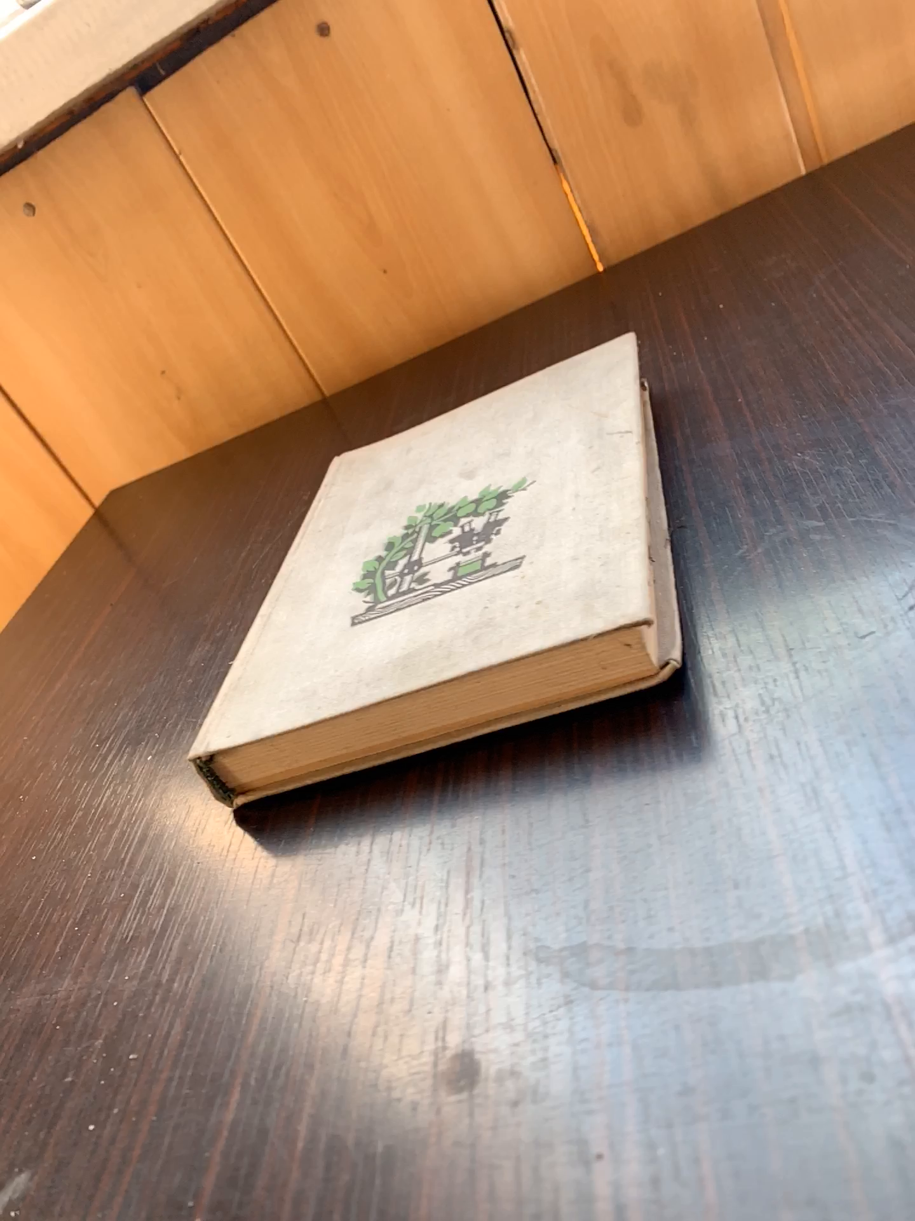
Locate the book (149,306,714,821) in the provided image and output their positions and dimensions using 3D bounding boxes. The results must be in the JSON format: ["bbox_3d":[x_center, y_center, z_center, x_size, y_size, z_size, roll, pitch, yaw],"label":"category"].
[{"bbox_3d":[-0.001,-0.025,0.289,0.136,0.027,0.170,-19,31,21],"label":"book"}]
